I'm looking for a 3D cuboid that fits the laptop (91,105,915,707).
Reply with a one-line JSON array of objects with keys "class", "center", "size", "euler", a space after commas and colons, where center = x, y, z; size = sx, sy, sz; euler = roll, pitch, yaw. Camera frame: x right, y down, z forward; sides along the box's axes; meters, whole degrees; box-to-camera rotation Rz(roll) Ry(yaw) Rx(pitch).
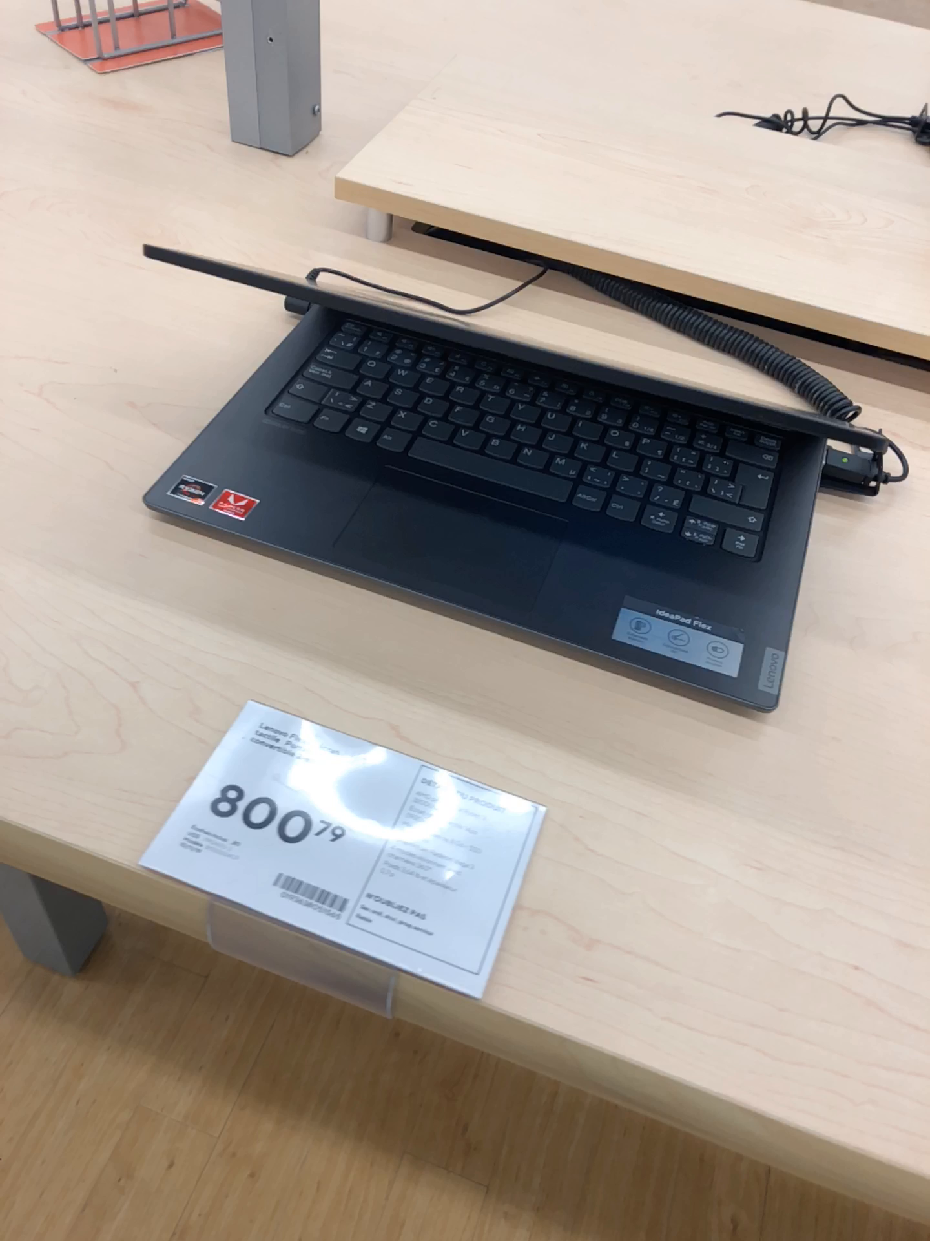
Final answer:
[{"class": "laptop", "center": [0.032, -0.127, 0.524], "size": [0.332, 0.121, 0.229], "euler": [18, 48, 9]}]
